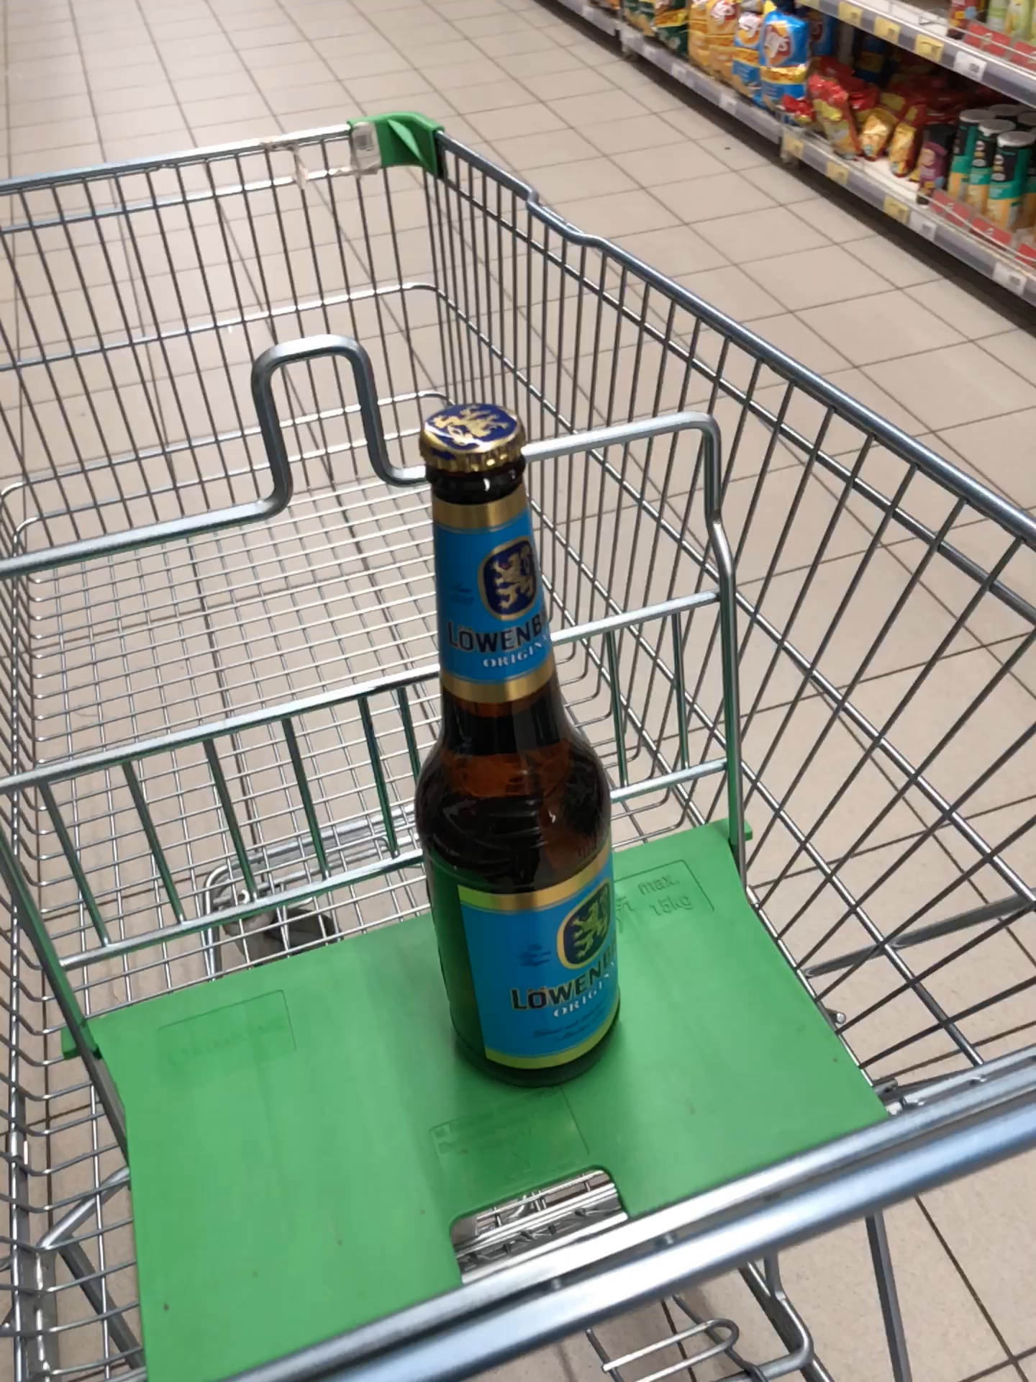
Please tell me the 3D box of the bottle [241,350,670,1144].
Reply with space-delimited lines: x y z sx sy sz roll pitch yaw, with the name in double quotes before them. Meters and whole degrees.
"bottle" -0.006 0.032 0.366 0.080 0.249 0.070 -32 46 -27
